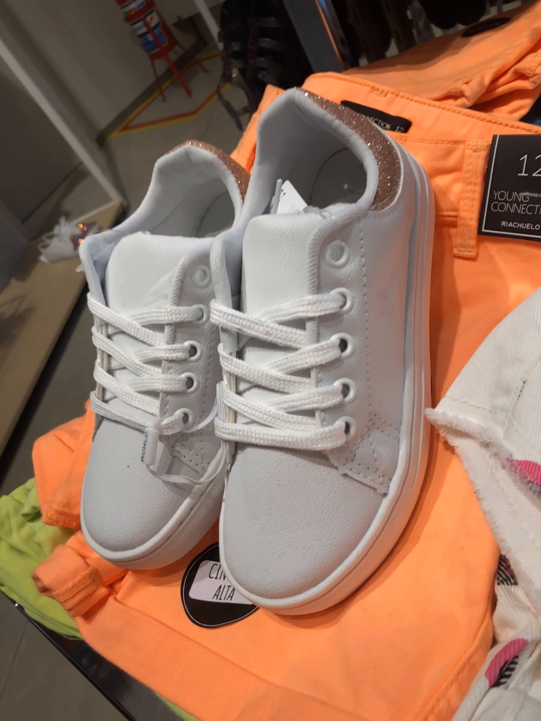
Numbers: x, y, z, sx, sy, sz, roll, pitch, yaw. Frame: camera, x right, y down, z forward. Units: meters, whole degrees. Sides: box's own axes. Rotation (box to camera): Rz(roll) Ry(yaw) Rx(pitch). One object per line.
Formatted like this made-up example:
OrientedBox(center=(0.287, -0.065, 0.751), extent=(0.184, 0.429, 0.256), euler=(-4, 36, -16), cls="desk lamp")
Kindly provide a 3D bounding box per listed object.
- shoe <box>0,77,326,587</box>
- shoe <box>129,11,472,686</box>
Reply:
OrientedBox(center=(-0.041, -0.015, 0.284), extent=(0.080, 0.070, 0.210), euler=(7, 78, 25), cls="shoe")
OrientedBox(center=(0.019, -0.007, 0.231), extent=(0.080, 0.070, 0.210), euler=(-2, 74, 37), cls="shoe")
